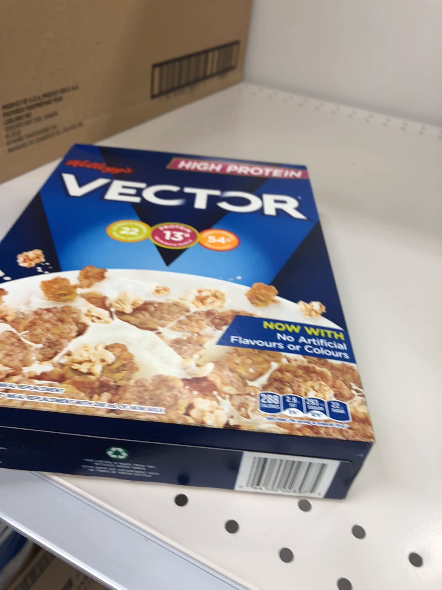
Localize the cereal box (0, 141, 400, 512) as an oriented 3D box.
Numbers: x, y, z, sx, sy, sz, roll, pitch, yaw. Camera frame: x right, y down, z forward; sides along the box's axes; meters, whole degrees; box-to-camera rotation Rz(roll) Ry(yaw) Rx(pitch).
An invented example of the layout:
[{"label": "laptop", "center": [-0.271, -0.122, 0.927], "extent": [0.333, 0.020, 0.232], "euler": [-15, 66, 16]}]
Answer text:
[{"label": "cereal box", "center": [-0.033, -0.017, 0.325], "extent": [0.210, 0.050, 0.291], "euler": [6, 35, -3]}]
